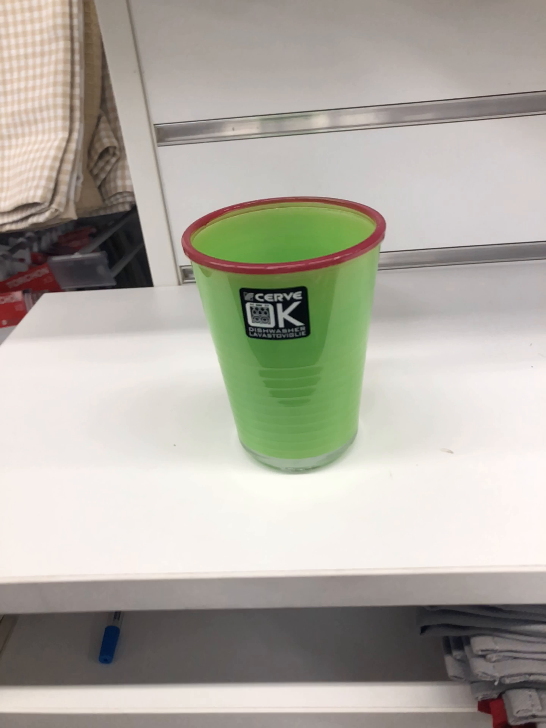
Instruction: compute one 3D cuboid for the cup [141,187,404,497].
[{"bbox_3d":[0.010,-0.011,0.253,0.086,0.098,0.083,-5,31,3],"label":"cup"}]
